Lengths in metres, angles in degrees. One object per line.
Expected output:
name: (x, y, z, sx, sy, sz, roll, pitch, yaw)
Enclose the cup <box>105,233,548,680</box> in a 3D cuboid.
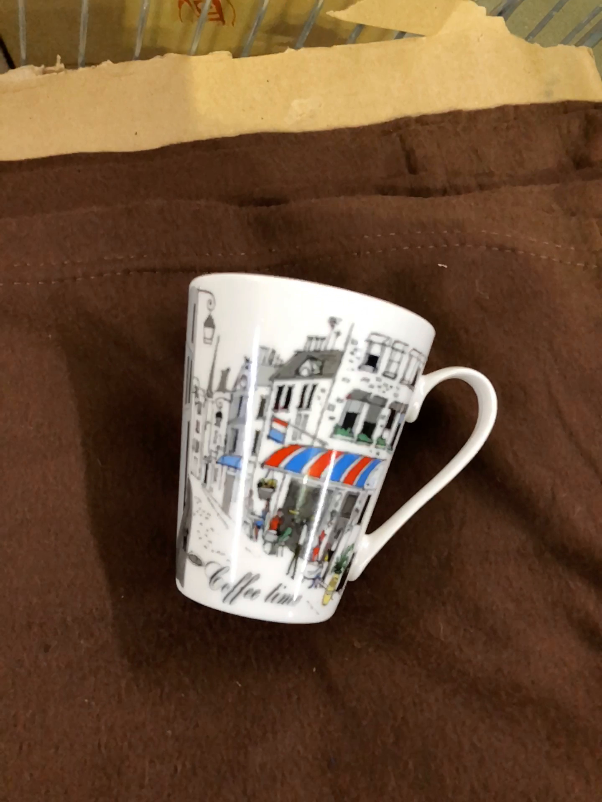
cup: (0.007, 0.018, 0.232, 0.110, 0.080, 0.110, 0, 86, -4)
